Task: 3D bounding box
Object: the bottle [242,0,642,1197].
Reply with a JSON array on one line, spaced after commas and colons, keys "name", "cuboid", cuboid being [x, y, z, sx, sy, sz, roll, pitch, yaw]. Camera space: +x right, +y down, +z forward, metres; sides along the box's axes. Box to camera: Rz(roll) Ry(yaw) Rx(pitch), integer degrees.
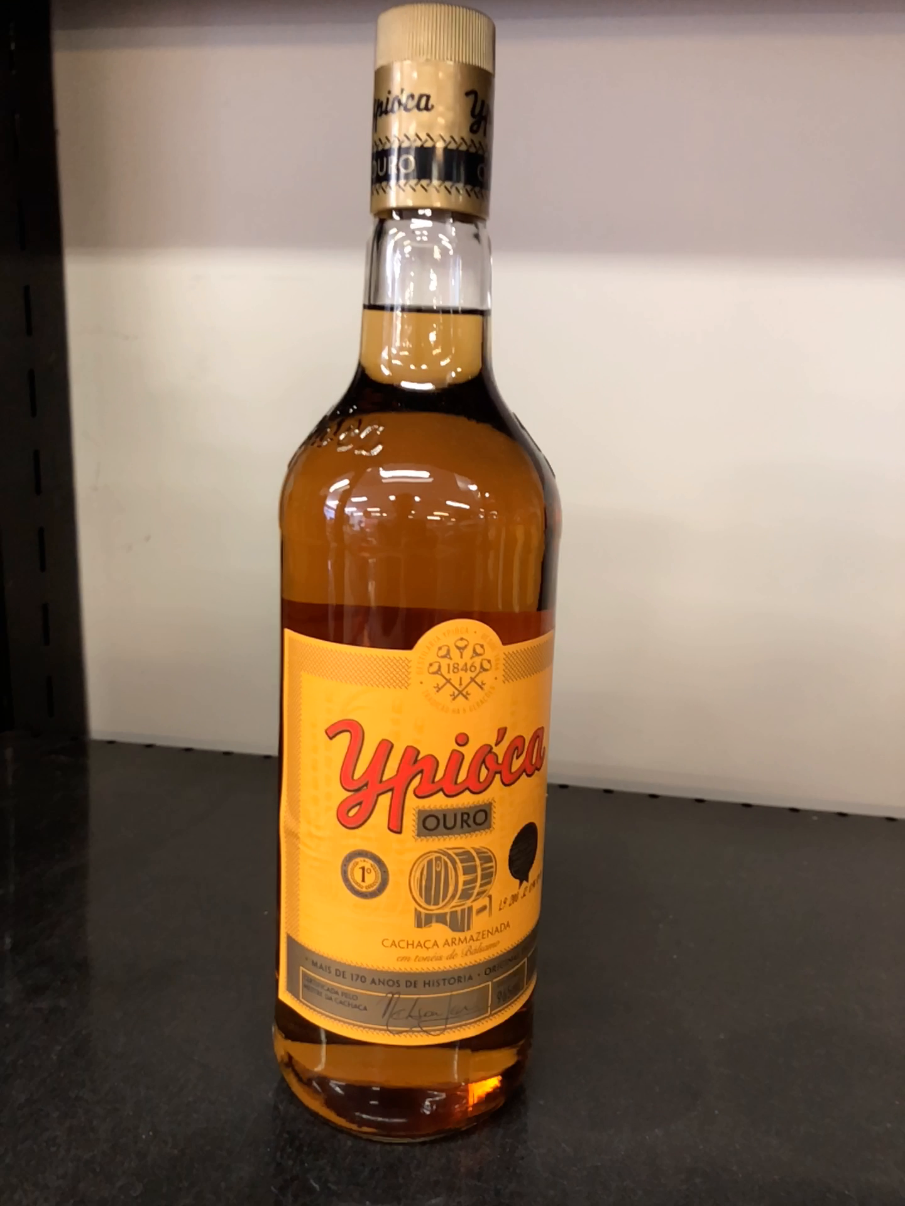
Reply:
[{"name": "bottle", "cuboid": [-0.013, -0.003, 0.277, 0.080, 0.309, 0.070, -1, 14, -17]}]
